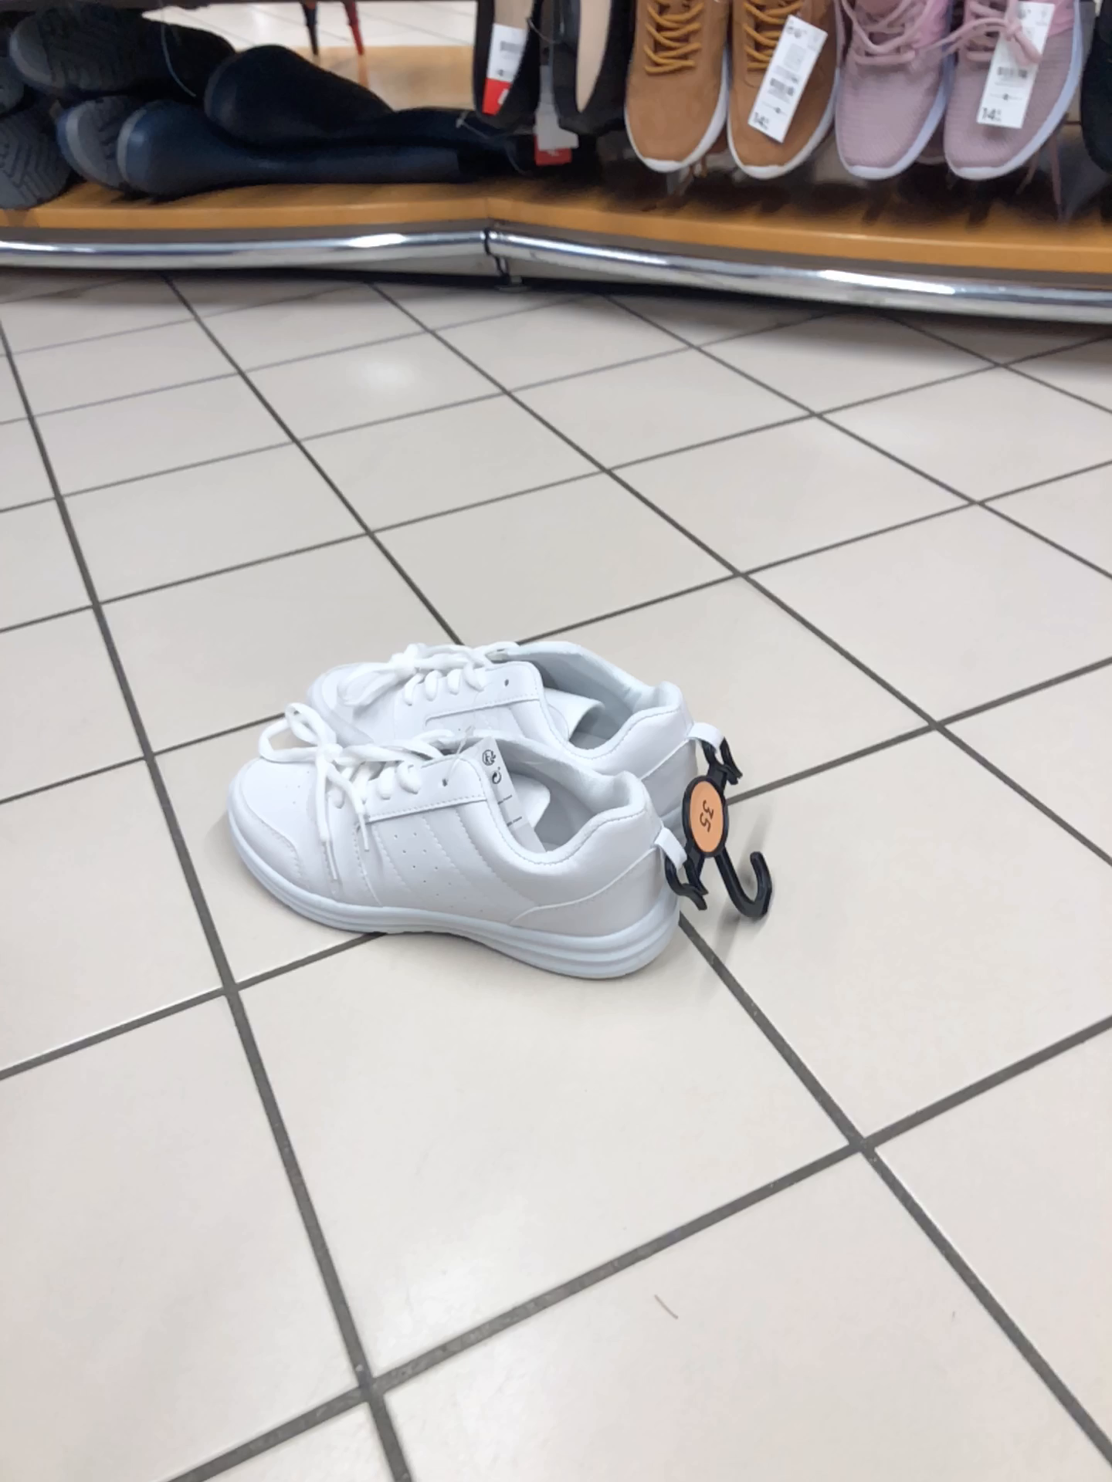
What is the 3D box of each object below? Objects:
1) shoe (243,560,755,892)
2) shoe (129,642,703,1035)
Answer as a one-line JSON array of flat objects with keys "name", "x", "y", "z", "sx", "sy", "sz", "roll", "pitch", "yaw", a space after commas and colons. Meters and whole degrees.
[{"name": "shoe", "x": -0.028, "y": -0.014, "z": 0.635, "sx": 0.240, "sy": 0.089, "sz": 0.091, "roll": 13, "pitch": 40, "yaw": 22}, {"name": "shoe", "x": -0.062, "y": 0.037, "z": 0.565, "sx": 0.240, "sy": 0.089, "sz": 0.091, "roll": 13, "pitch": 40, "yaw": 22}]
